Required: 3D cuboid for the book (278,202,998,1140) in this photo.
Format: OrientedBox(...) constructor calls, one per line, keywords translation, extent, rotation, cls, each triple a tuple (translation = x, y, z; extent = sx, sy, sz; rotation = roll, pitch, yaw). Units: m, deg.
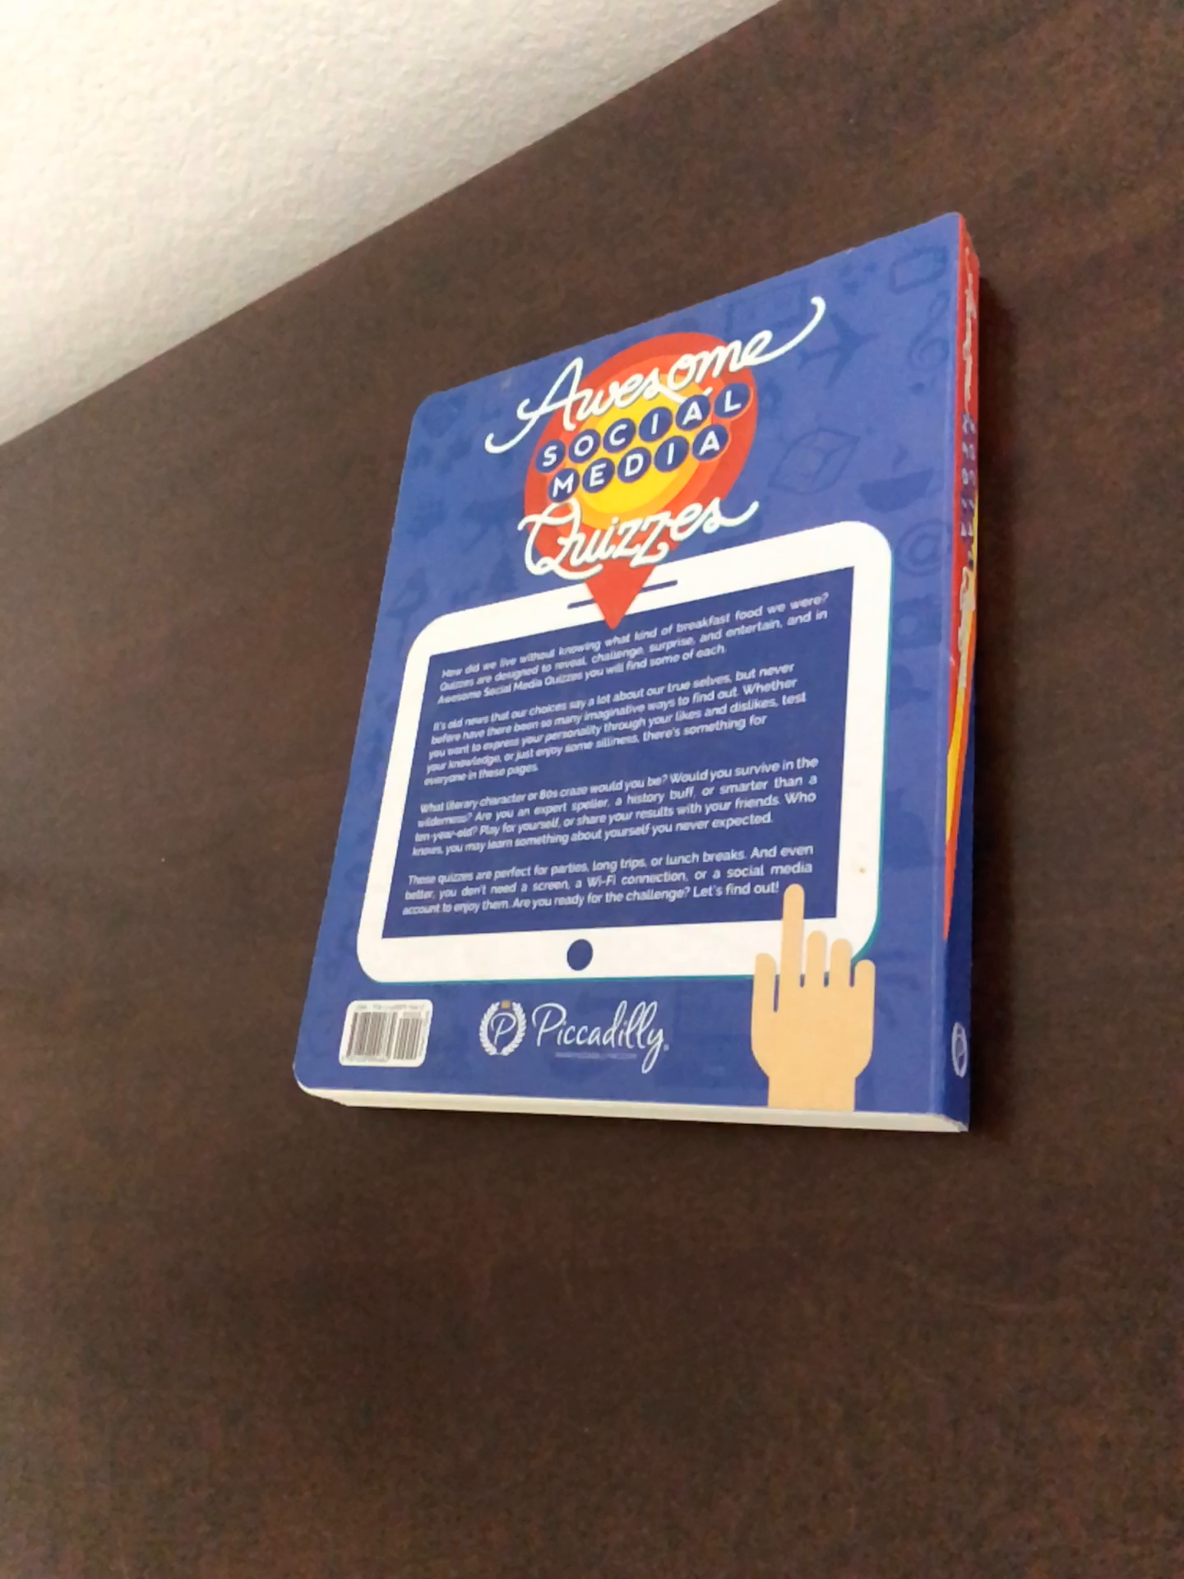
OrientedBox(translation=(0.010, -0.024, 0.319), extent=(0.166, 0.030, 0.201), rotation=(-7, 68, 33), cls="book")
